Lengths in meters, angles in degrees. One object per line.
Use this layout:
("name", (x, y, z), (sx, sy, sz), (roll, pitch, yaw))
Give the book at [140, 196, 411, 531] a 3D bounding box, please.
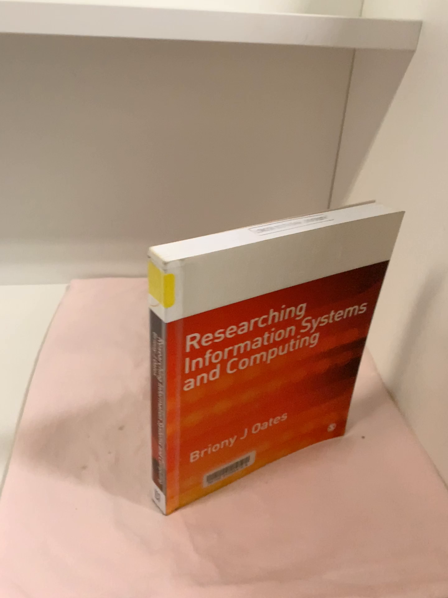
("book", (0.037, 0.053, 0.363), (0.201, 0.238, 0.026), (-16, 37, -28))
